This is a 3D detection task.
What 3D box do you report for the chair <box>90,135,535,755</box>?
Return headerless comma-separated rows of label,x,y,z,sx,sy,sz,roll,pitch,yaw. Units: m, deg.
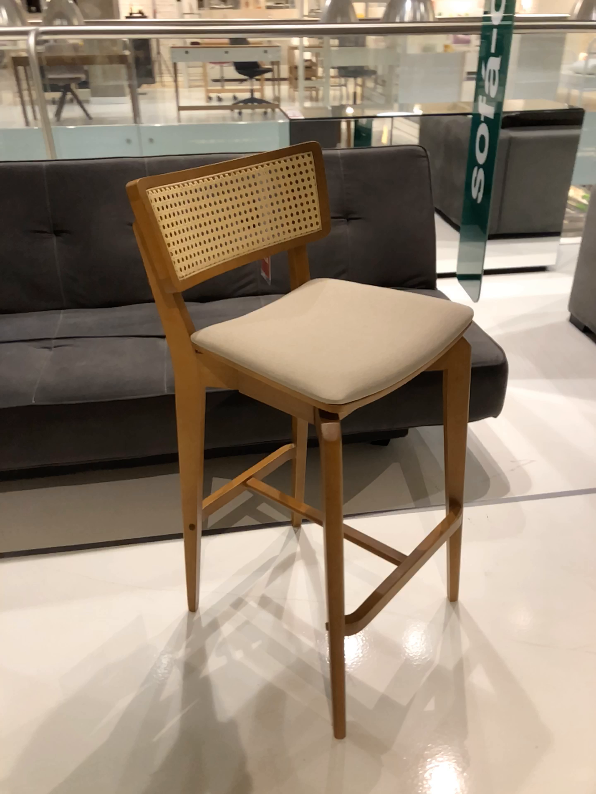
chair,0.033,0.059,1.263,0.521,0.963,0.472,22,36,34
